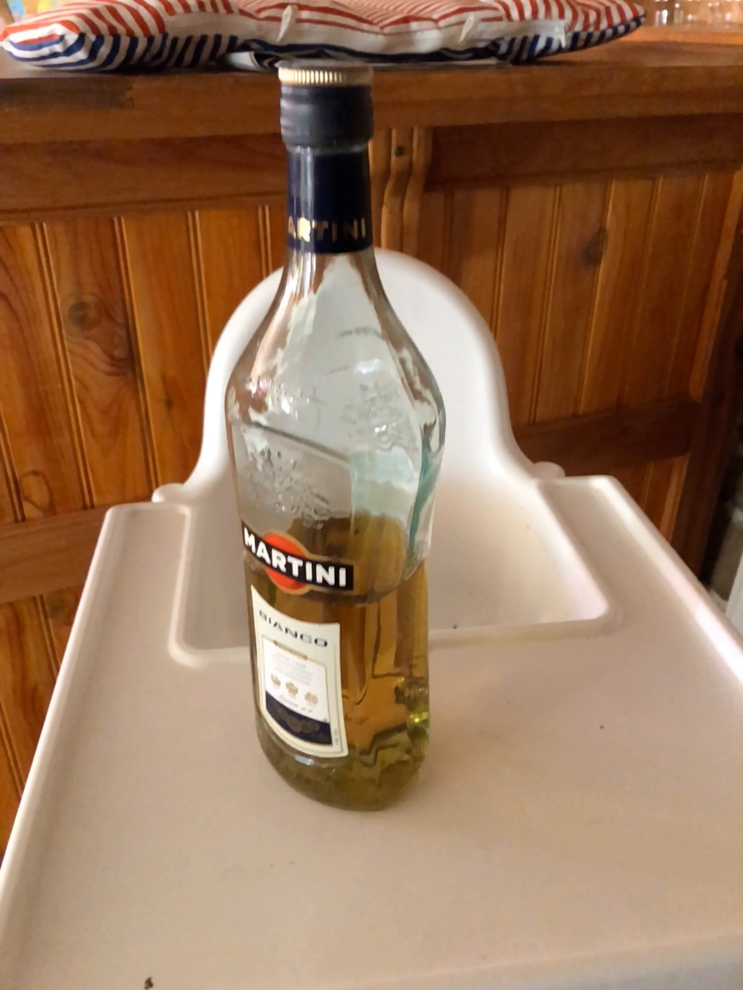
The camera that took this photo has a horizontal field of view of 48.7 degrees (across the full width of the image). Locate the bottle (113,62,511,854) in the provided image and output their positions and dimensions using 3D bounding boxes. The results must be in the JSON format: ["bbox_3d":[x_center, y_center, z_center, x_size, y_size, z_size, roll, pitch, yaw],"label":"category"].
[{"bbox_3d":[-0.022,-0.006,0.357,0.110,0.318,0.080,23,37,34],"label":"bottle"}]
